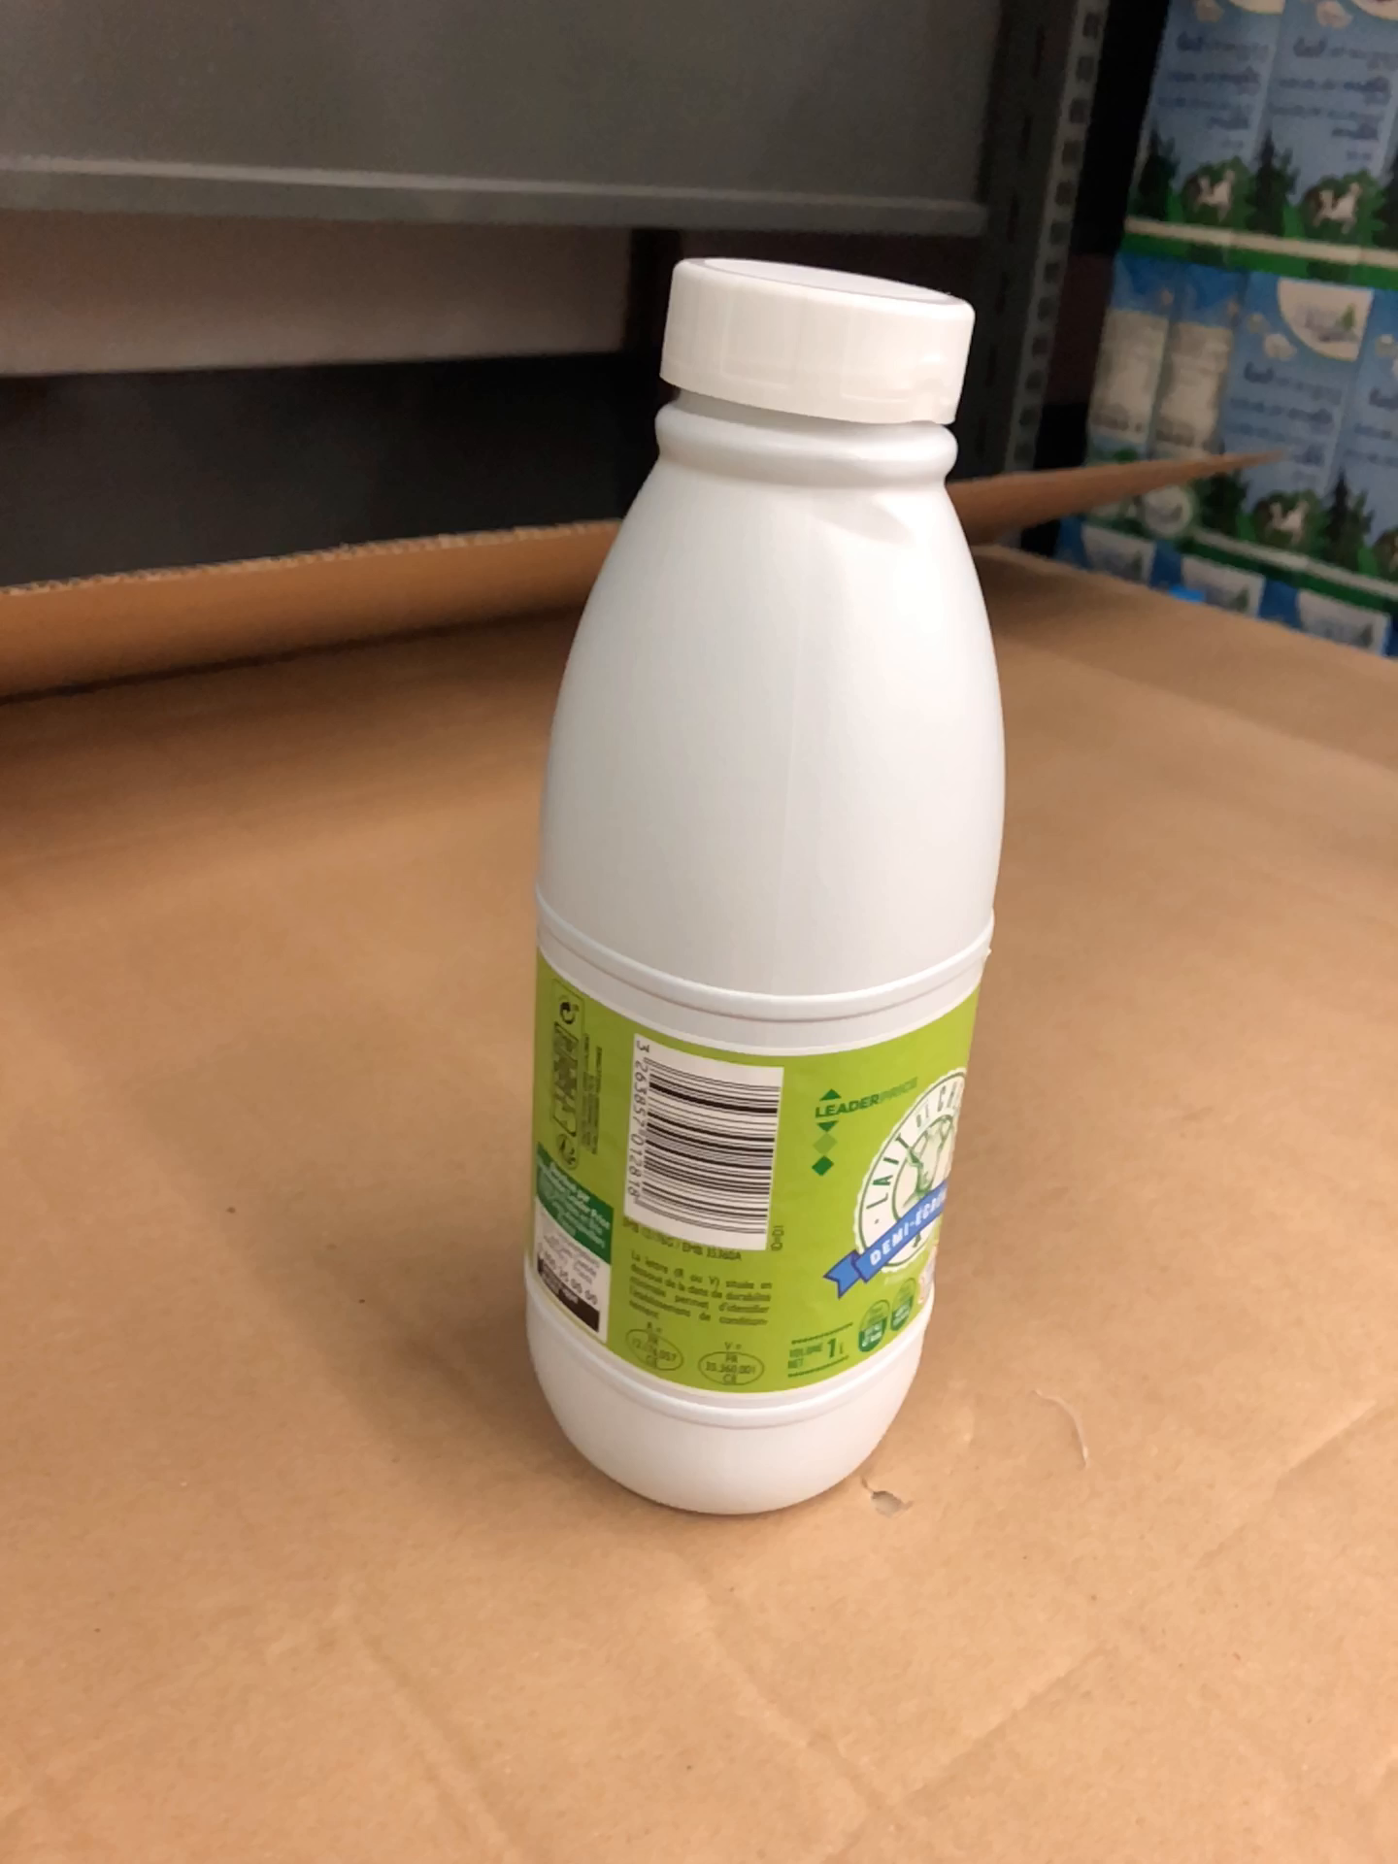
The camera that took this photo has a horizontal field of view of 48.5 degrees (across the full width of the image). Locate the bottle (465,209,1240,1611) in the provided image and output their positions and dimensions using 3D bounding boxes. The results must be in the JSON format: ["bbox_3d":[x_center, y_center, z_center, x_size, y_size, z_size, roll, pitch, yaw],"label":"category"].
[{"bbox_3d":[0.020,-0.005,0.302,0.080,0.239,0.101,24,33,32],"label":"bottle"}]
